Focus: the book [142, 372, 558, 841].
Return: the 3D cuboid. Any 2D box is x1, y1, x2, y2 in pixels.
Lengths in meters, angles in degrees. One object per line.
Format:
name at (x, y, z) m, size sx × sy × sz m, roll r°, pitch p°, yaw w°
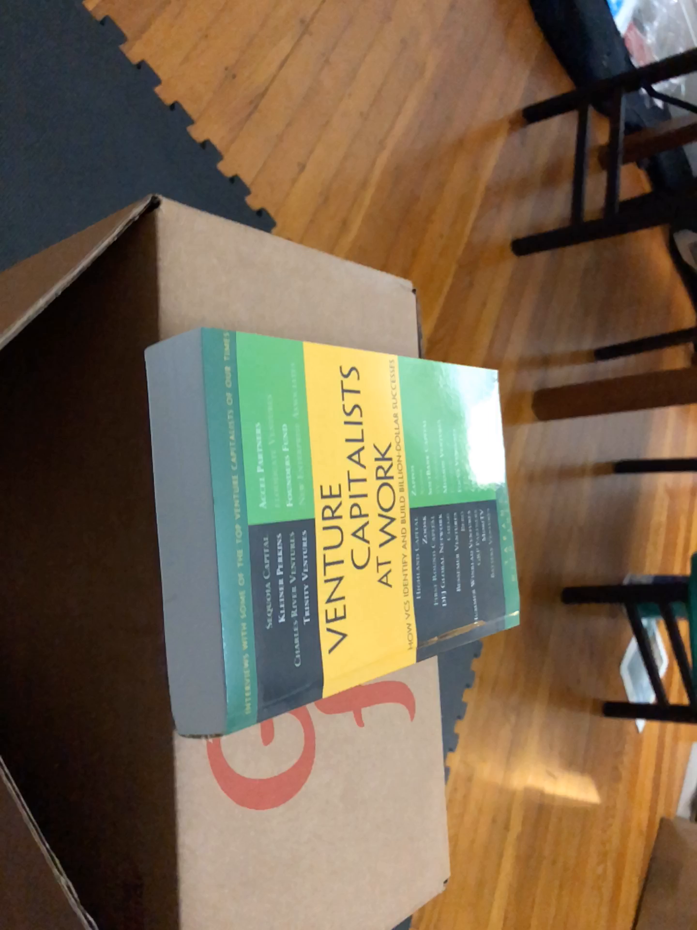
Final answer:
book at (0.024, 0.047, 0.380) m, size 0.261 × 0.040 × 0.160 m, roll -2°, pitch 87°, yaw -52°
